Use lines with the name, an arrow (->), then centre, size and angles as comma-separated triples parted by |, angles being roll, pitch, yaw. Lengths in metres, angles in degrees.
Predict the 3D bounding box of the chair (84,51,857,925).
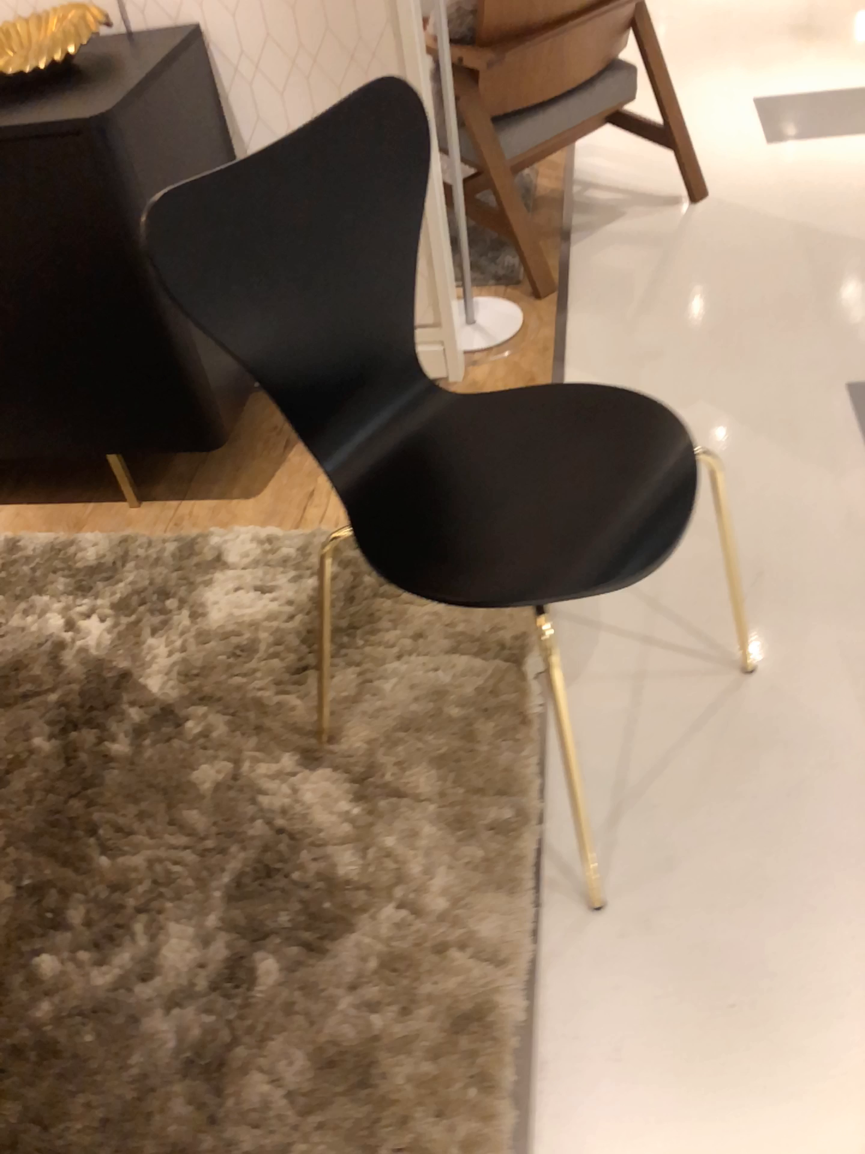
chair -> 0.087, -0.107, 1.106 | 0.502, 0.754, 0.502 | 23, 52, 31
